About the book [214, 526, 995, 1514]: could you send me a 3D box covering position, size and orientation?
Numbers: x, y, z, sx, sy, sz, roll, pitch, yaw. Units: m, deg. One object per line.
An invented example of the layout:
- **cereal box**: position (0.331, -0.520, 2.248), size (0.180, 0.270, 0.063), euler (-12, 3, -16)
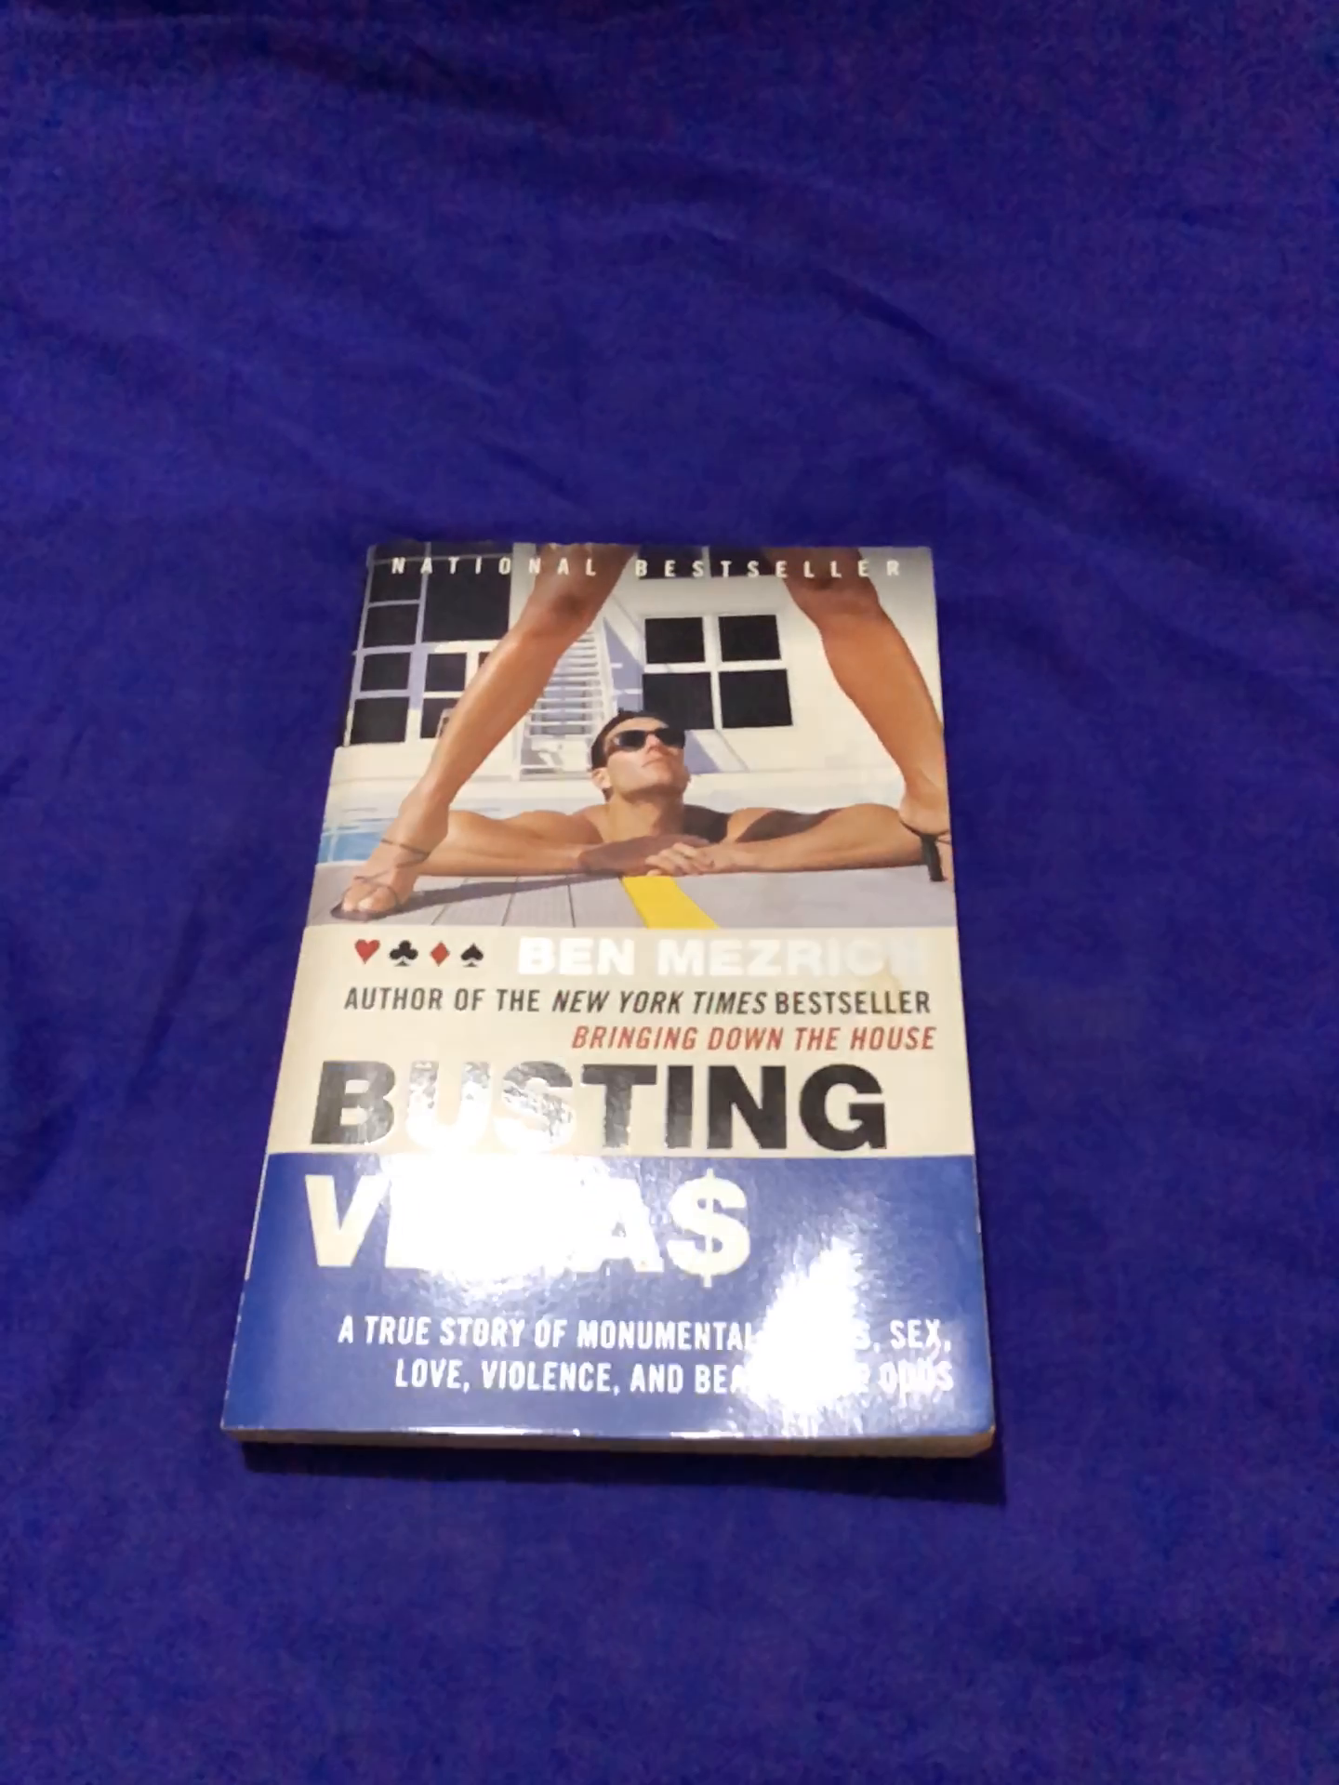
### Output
- **book**: position (-0.008, 0.015, 0.318), size (0.130, 0.040, 0.211), euler (1, 60, 2)
